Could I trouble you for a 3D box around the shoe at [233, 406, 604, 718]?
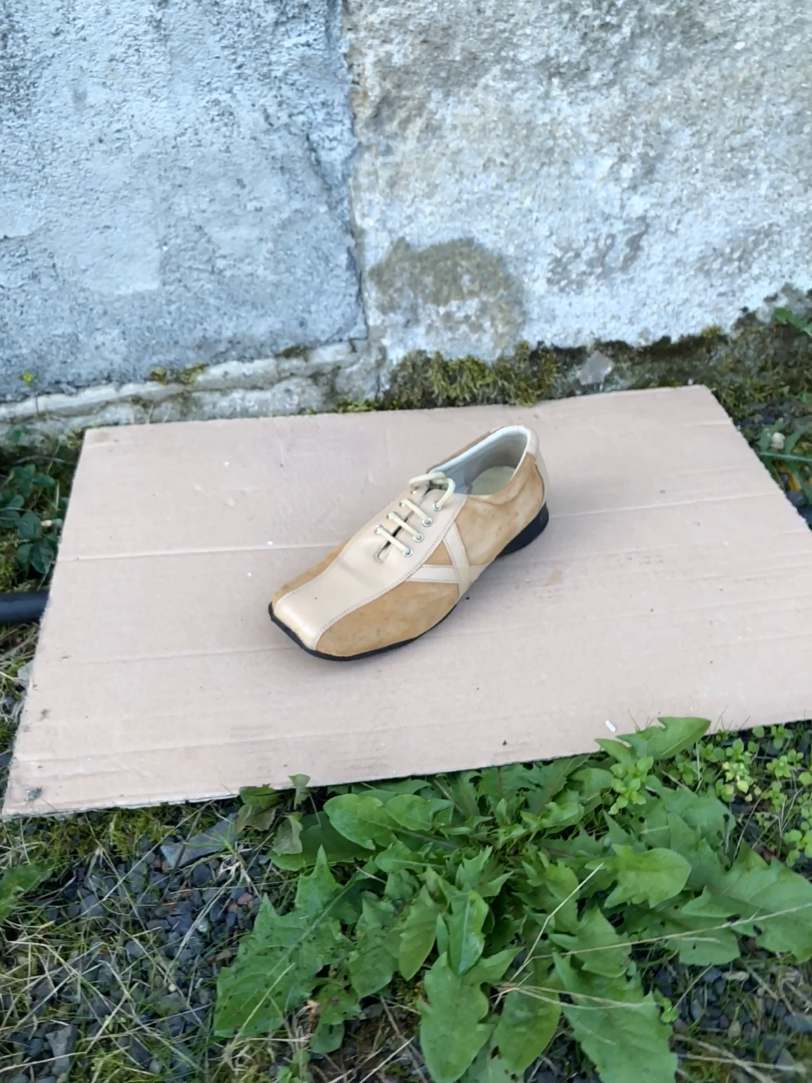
[{"bbox_3d":[0.019,0.003,0.675,0.271,0.080,0.100,-32,45,-27],"label":"shoe"}]
